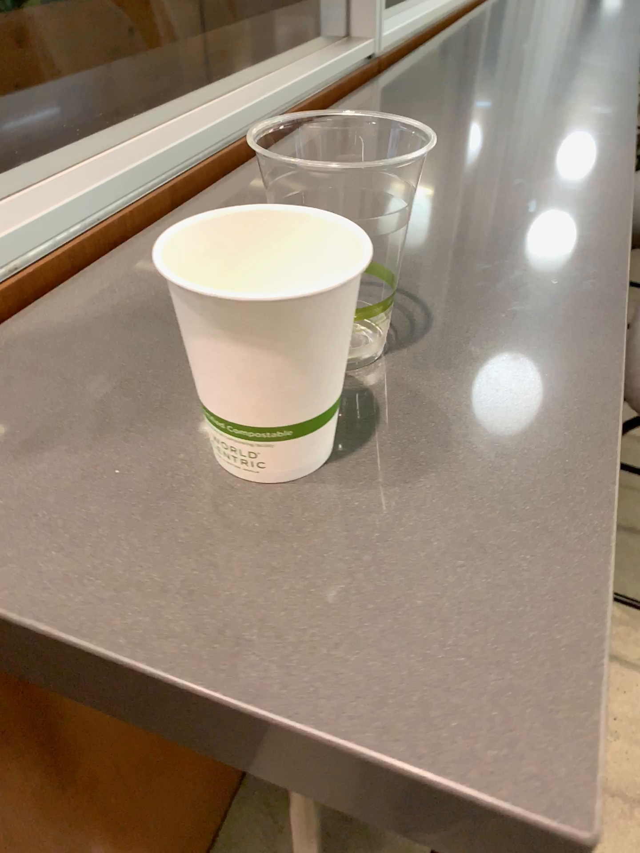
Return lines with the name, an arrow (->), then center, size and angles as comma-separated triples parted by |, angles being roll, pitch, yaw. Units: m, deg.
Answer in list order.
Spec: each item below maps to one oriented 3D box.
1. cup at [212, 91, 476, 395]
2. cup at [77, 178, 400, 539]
cup -> 0.013, -0.101, 0.355 | 0.100, 0.119, 0.080 | 22, 44, 26
cup -> -0.029, -0.034, 0.294 | 0.090, 0.109, 0.090 | -1, 38, 0
